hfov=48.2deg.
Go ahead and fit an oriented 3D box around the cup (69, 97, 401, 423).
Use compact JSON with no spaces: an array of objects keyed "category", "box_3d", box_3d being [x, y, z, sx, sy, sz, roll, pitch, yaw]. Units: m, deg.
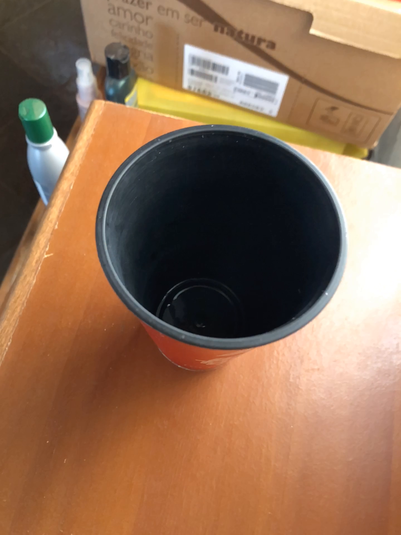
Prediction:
[{"category":"cup","box_3d":[0.007,0.009,0.228,0.100,0.139,0.090,-18,69,-14]}]
